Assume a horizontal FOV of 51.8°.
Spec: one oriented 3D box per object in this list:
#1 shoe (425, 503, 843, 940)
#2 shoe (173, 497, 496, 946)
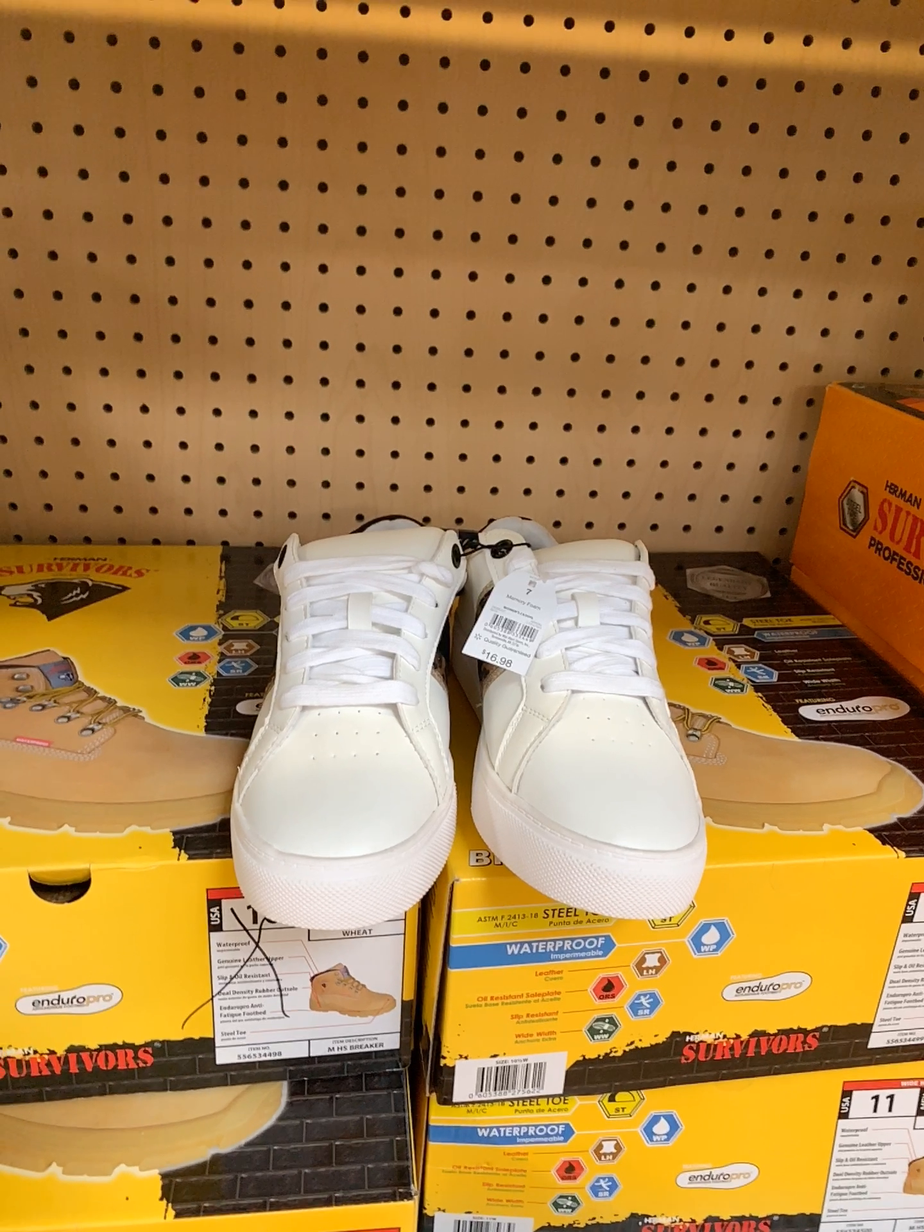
[{"bbox_3d":[0.053,0.028,0.427,0.102,0.070,0.242,3,26,-11],"label":"shoe"},{"bbox_3d":[-0.044,0.025,0.421,0.100,0.072,0.246,2,26,-3],"label":"shoe"}]
